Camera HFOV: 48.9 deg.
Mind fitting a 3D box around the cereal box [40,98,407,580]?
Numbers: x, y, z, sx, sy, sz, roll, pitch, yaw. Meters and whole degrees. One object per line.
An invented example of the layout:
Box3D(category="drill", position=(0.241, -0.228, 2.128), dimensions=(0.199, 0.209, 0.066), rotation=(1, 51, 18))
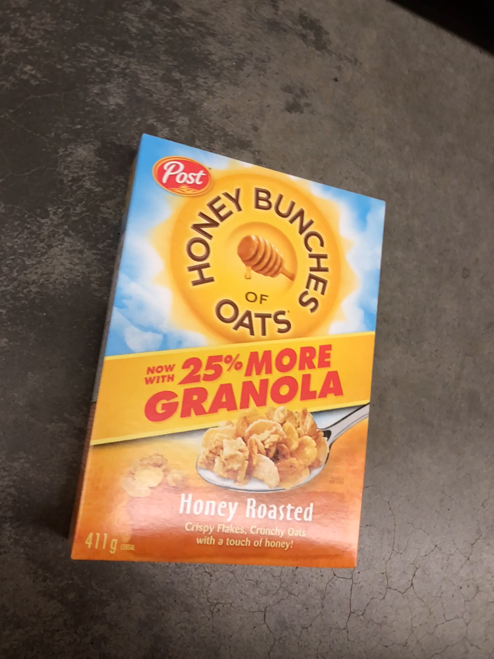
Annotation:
Box3D(category="cereal box", position=(-0.005, 0.017, 0.381), dimensions=(0.210, 0.060, 0.280), rotation=(12, 81, -22))
